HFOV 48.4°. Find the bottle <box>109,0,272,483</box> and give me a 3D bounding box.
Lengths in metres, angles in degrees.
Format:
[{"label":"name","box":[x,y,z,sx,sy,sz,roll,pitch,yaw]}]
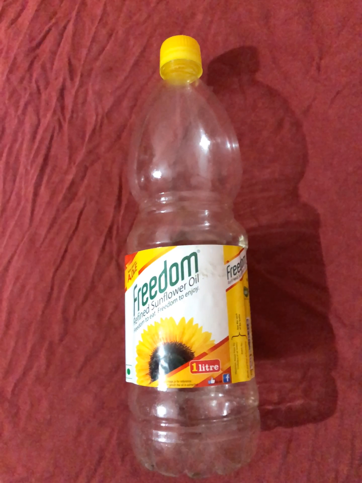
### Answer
[{"label":"bottle","box":[0.006,0.000,0.250,0.080,0.060,0.270,-3,82,10]}]
